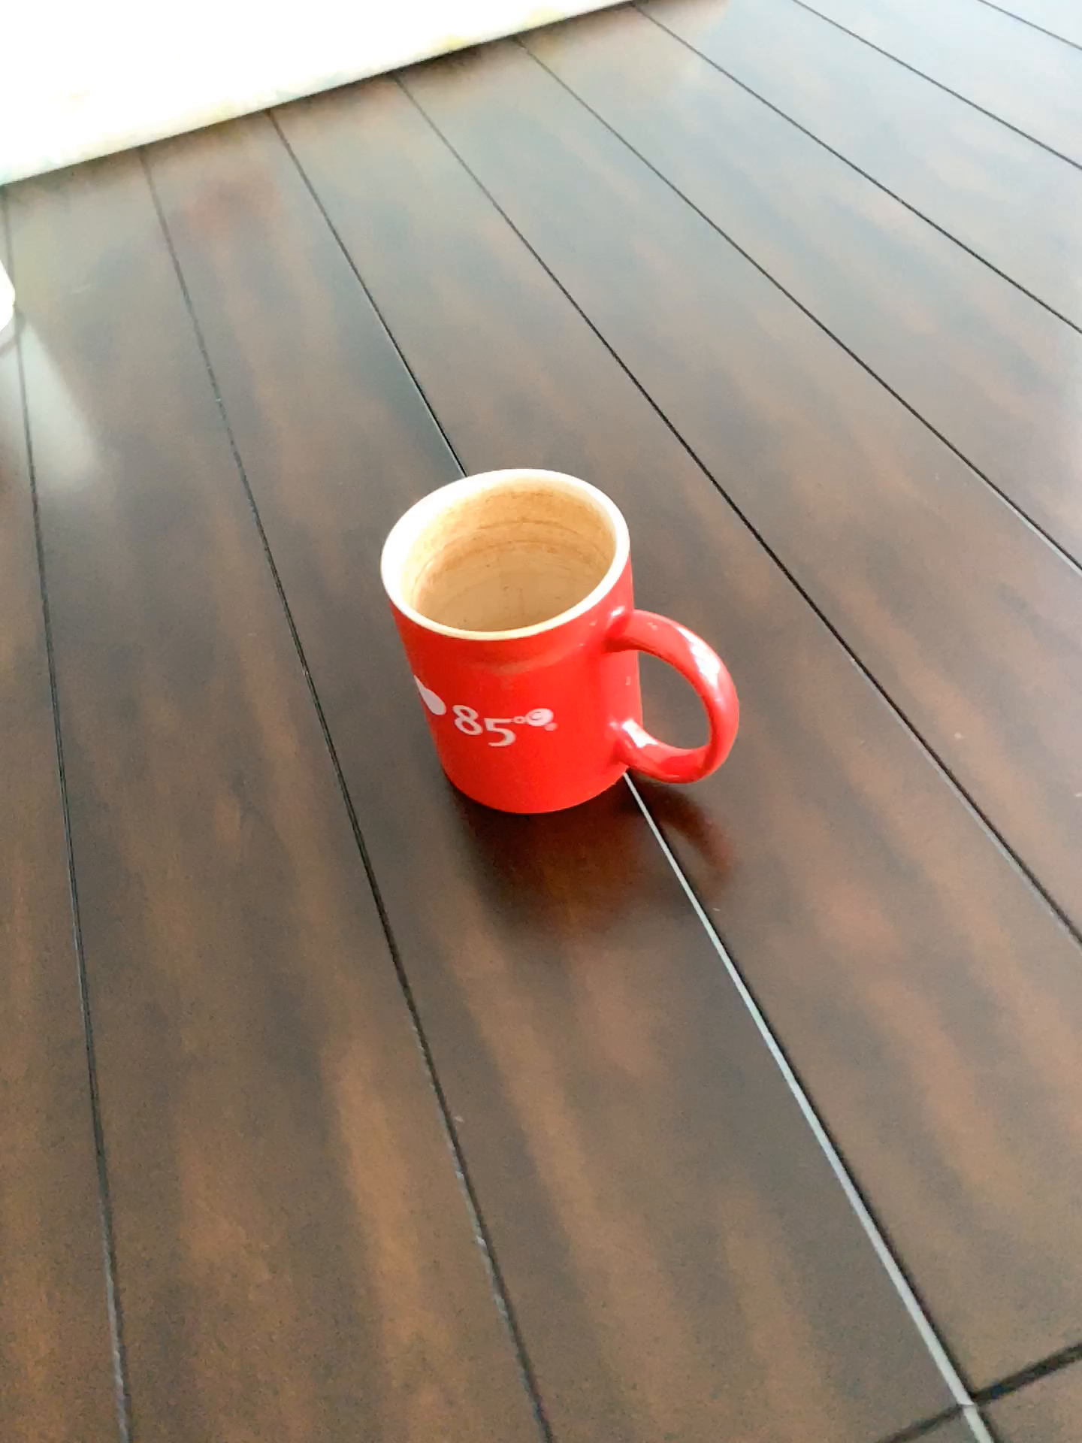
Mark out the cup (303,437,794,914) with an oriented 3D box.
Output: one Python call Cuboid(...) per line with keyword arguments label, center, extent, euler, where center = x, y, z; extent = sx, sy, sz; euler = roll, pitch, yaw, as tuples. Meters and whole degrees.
Cuboid(label="cup", center=(0.006, -0.020, 0.390), extent=(0.130, 0.090, 0.090), euler=(27, 59, 28))
